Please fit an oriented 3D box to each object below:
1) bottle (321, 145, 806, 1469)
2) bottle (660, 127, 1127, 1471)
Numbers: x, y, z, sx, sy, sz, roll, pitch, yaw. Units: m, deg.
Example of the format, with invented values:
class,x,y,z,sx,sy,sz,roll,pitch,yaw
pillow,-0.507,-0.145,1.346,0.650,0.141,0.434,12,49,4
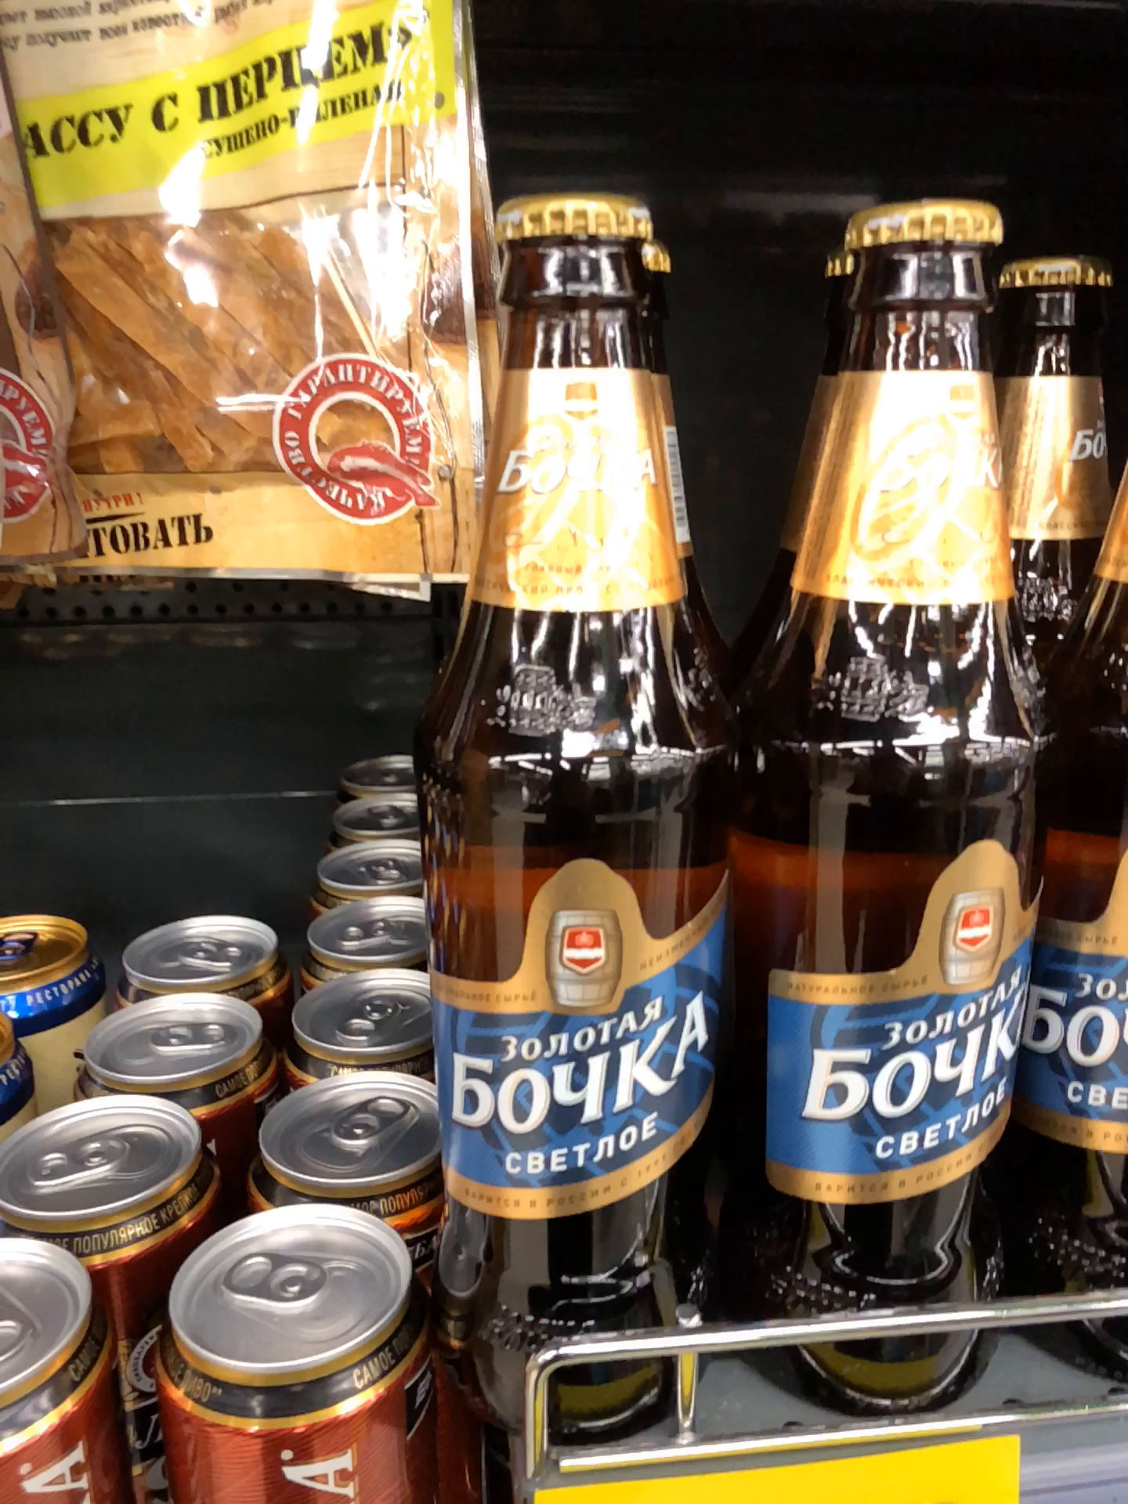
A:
class,x,y,z,sx,sy,sz,roll,pitch,yaw
bottle,0.003,0.016,0.245,0.070,0.234,0.070,0,16,0
bottle,0.065,0.013,0.246,0.070,0.234,0.060,-6,17,-20
